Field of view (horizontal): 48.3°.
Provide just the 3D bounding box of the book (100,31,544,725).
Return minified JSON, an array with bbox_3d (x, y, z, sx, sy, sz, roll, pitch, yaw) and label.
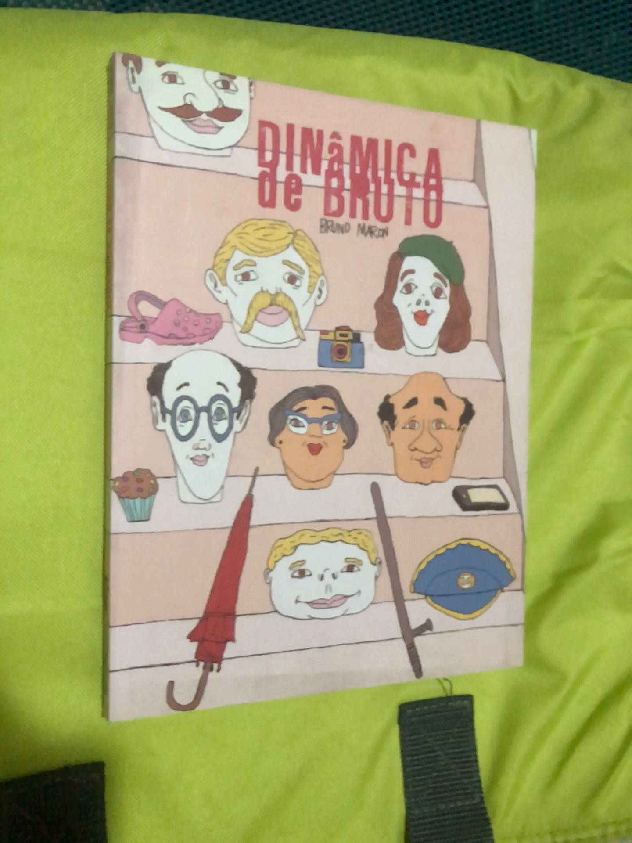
[{"bbox_3d":[0.008,-0.014,0.282,0.179,0.020,0.239,0,91,-19],"label":"book"}]
